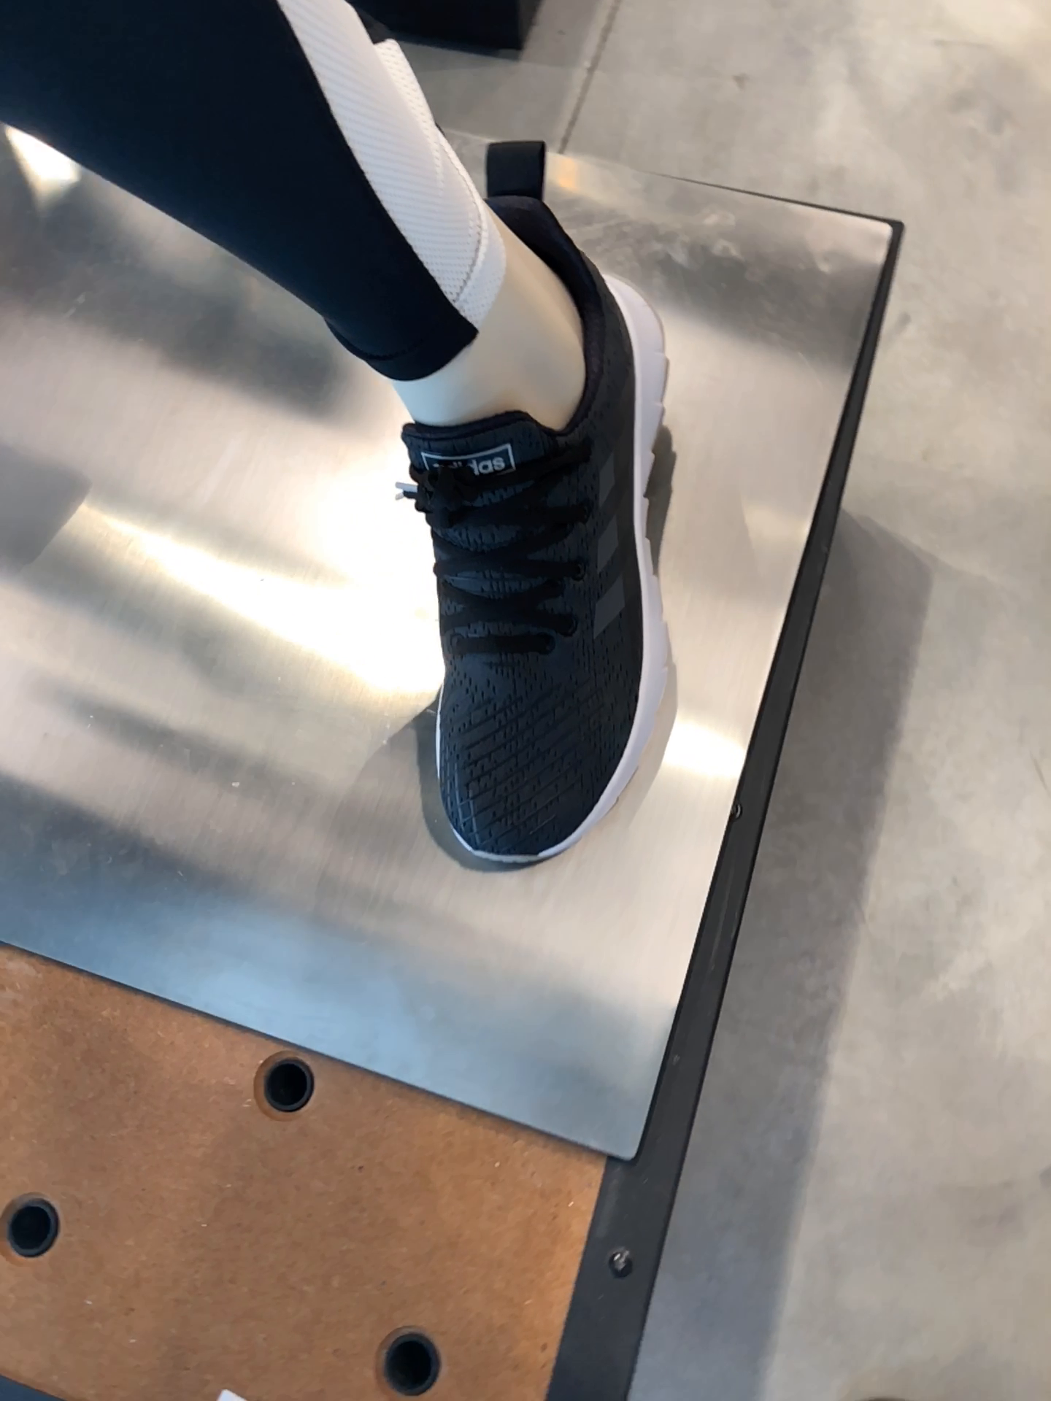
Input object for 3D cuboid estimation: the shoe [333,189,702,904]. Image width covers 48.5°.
[{"bbox_3d":[0.006,-0.064,0.518,0.110,0.100,0.290,4,79,15],"label":"shoe"}]
